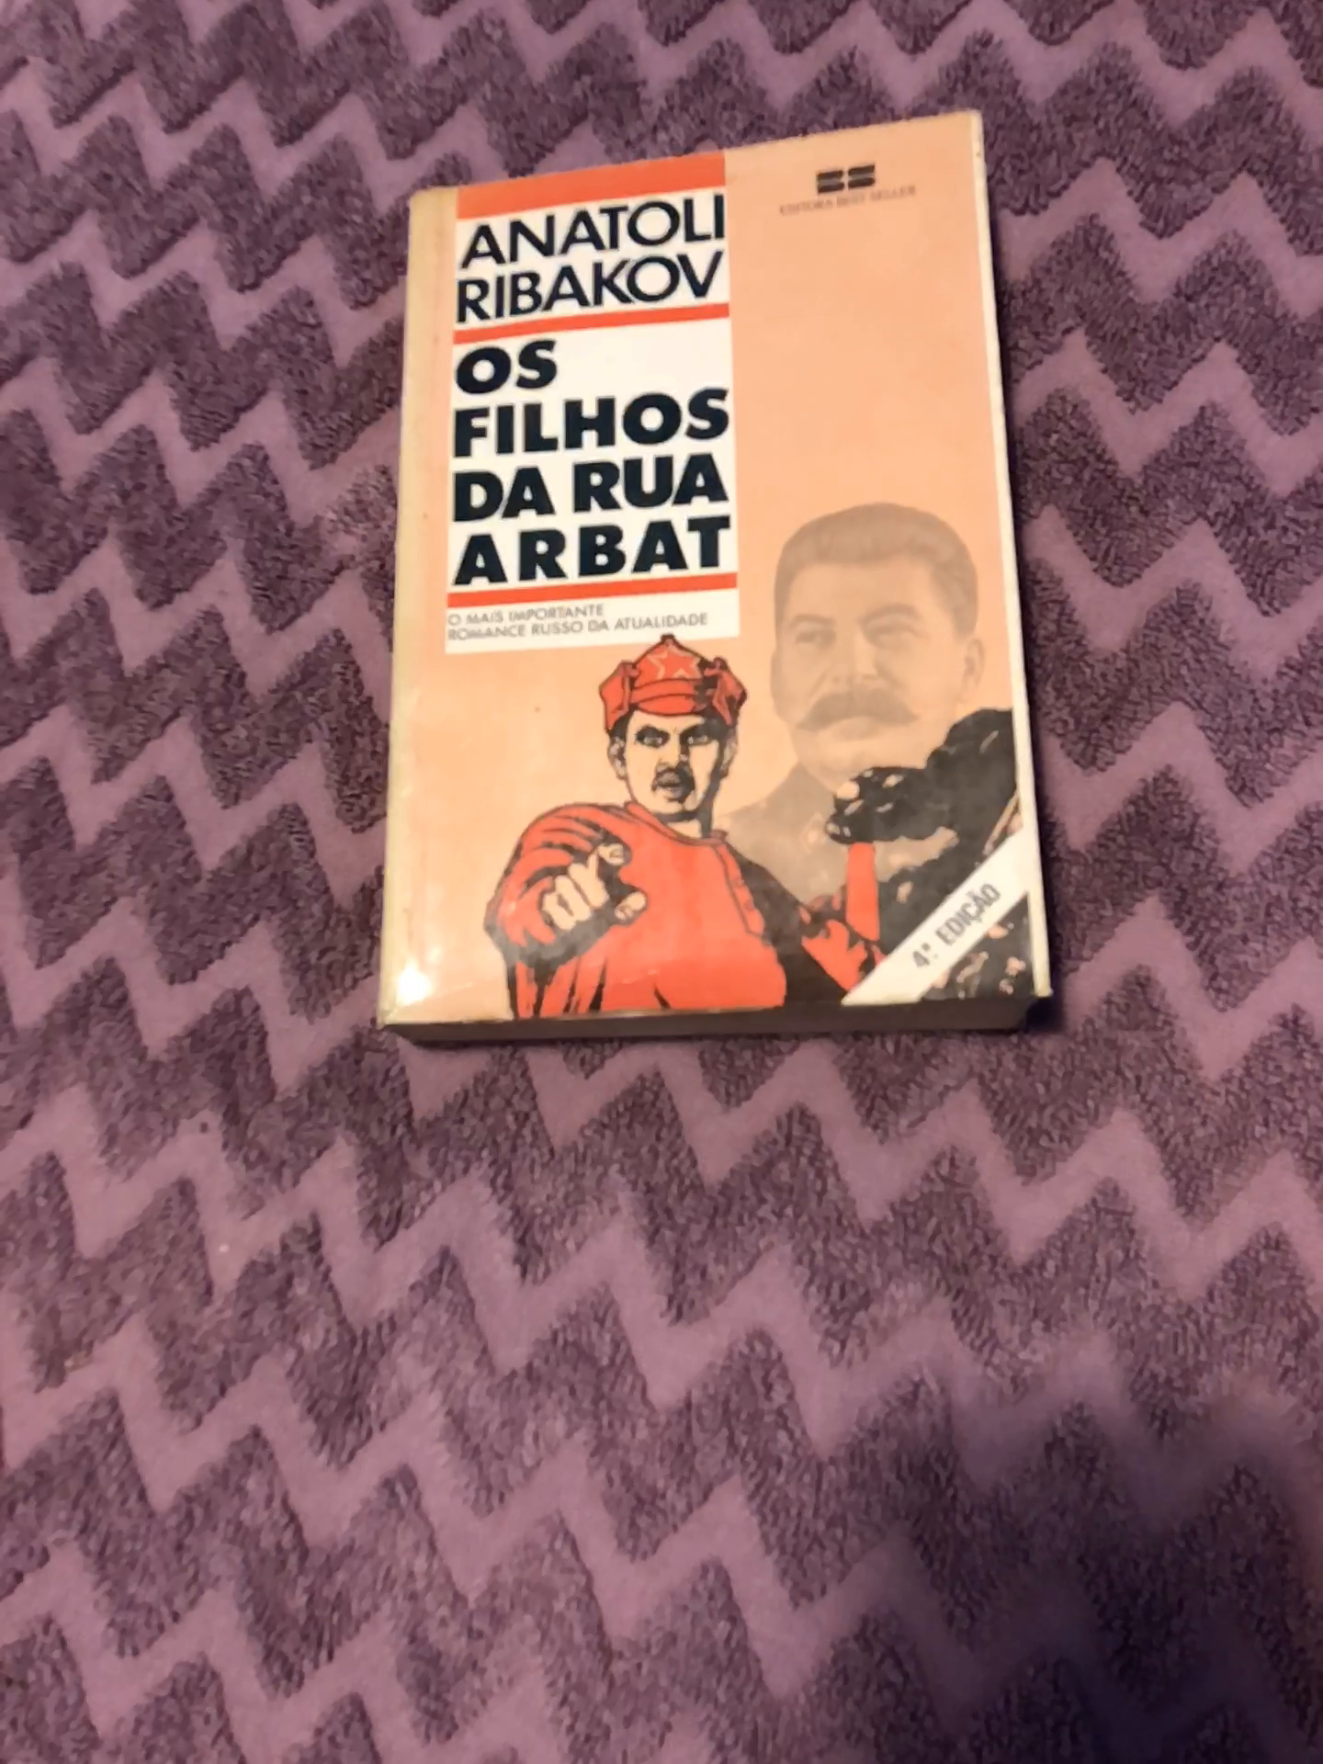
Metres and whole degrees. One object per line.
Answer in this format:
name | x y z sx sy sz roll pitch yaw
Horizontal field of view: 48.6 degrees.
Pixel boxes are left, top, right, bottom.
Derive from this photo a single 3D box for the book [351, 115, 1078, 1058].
book | 0.008 -0.061 0.319 0.140 0.040 0.190 -3 78 8
